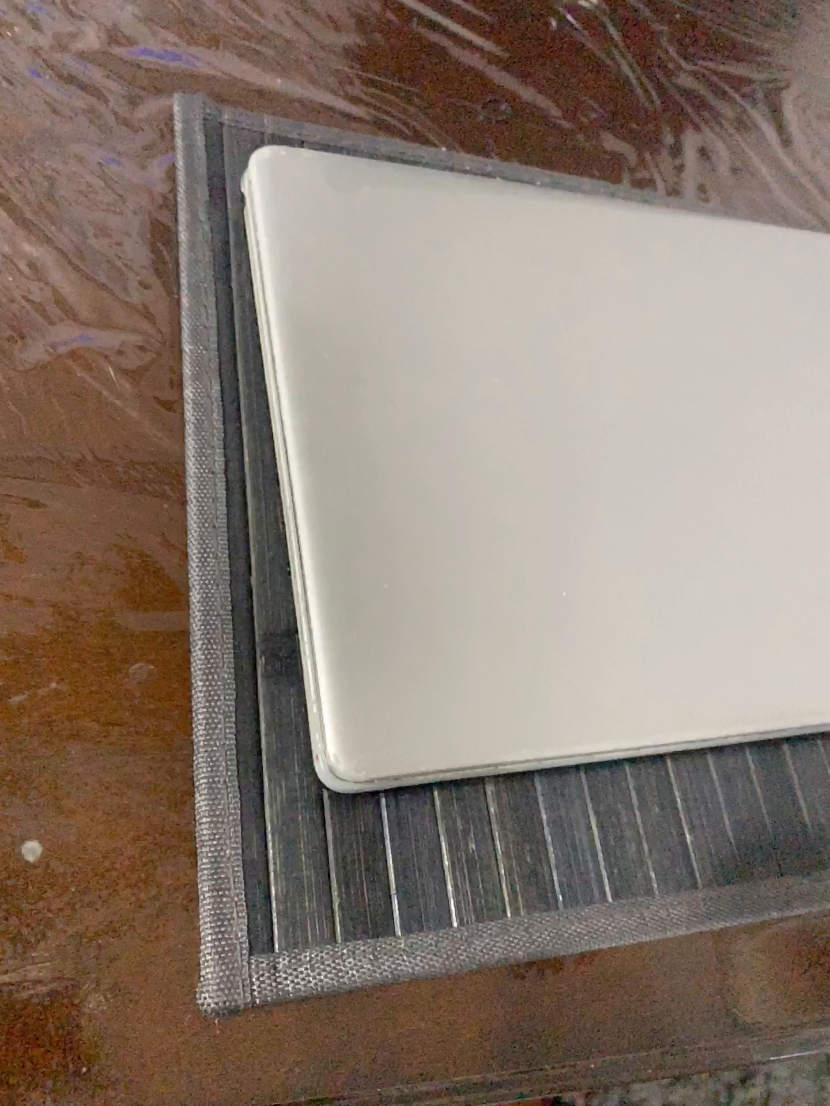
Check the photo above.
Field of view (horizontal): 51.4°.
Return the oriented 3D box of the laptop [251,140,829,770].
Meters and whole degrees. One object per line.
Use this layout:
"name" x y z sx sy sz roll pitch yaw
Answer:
"laptop" 0.115 -0.047 0.334 0.336 0.002 0.223 -1 66 -24
